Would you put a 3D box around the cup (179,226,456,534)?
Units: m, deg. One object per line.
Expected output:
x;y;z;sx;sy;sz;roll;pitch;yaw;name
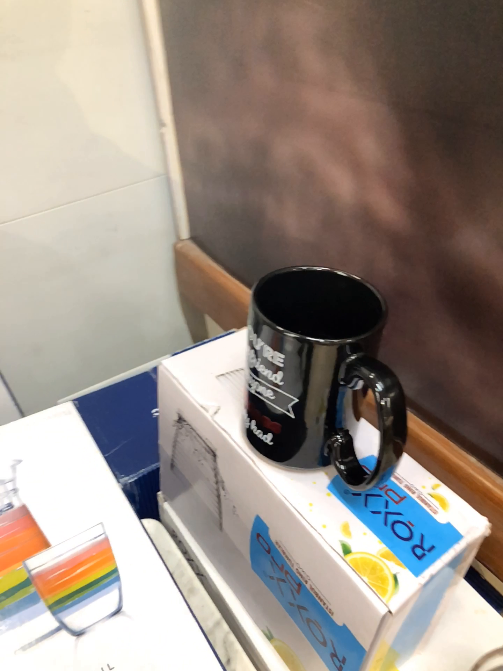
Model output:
0.027;0.016;0.332;0.090;0.109;0.130;-16;37;-28;cup
